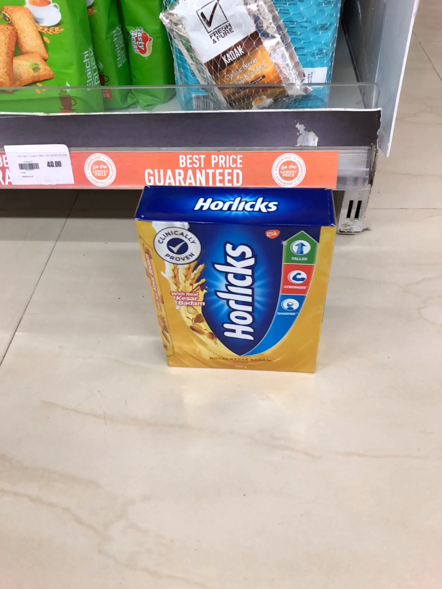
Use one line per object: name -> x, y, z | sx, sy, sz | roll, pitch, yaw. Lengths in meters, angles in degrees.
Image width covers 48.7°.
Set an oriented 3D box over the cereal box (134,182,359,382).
cereal box -> 0.022, -0.002, 0.406 | 0.150, 0.179, 0.050 | 2, 46, 6
